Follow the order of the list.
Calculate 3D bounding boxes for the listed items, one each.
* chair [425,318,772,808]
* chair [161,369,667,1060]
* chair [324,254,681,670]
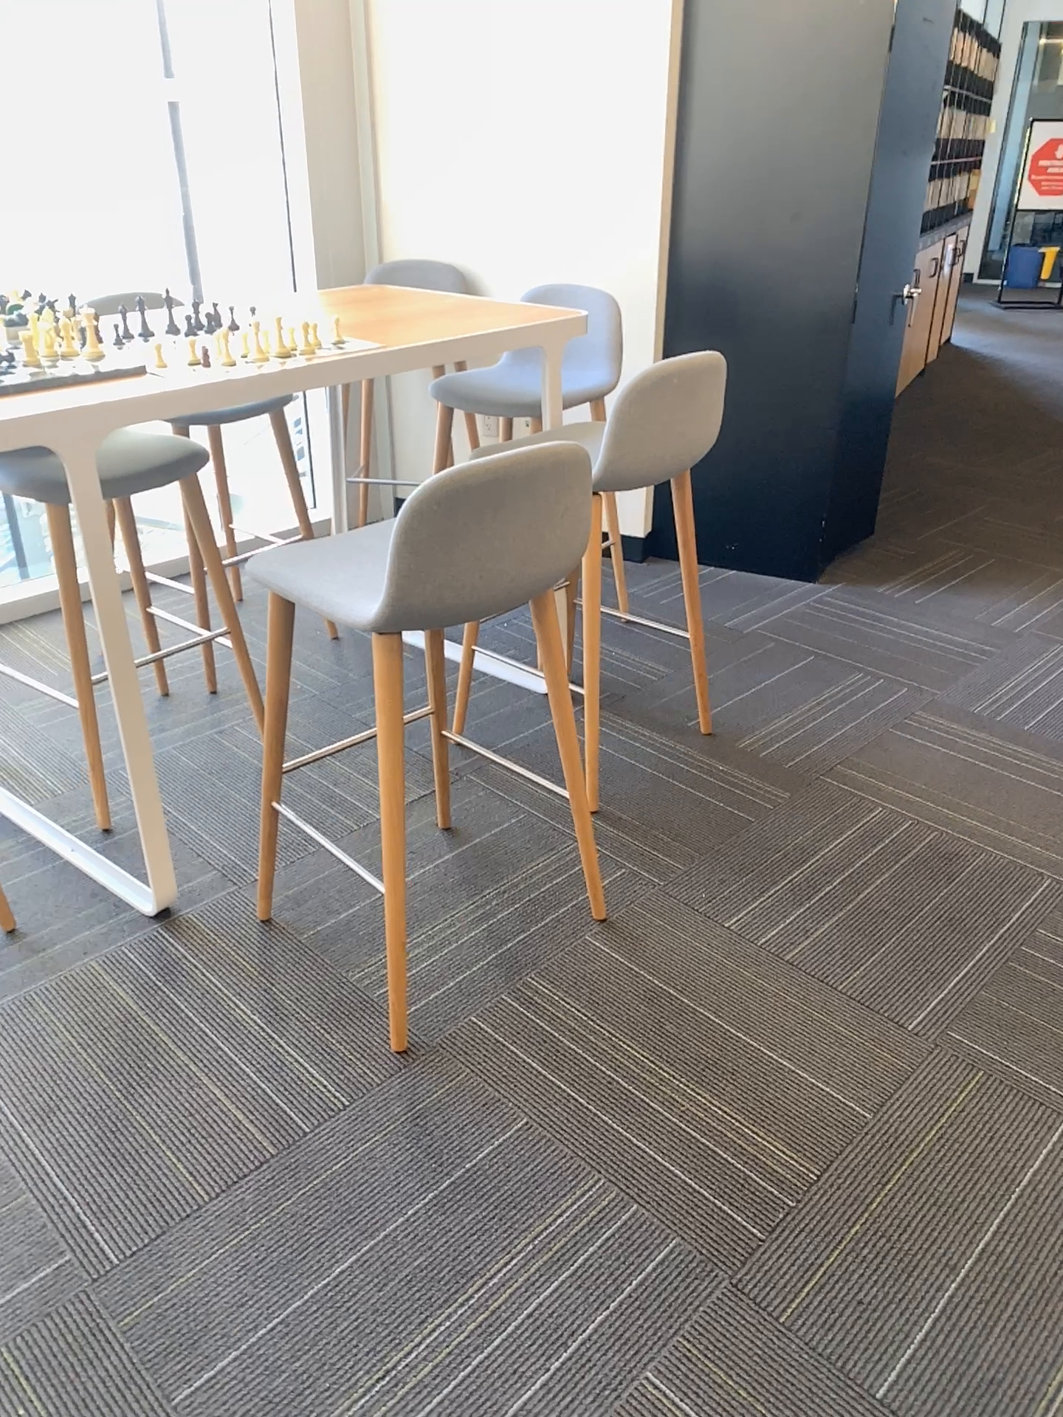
[{"bbox_3d":[0.141,-0.366,2.529,0.552,0.934,0.501,22,34,35],"label":"chair"},{"bbox_3d":[-0.187,-0.033,1.872,0.551,0.934,0.552,-23,35,-38],"label":"chair"},{"bbox_3d":[-0.088,-0.778,3.244,0.783,0.994,0.621,22,34,36],"label":"chair"}]
